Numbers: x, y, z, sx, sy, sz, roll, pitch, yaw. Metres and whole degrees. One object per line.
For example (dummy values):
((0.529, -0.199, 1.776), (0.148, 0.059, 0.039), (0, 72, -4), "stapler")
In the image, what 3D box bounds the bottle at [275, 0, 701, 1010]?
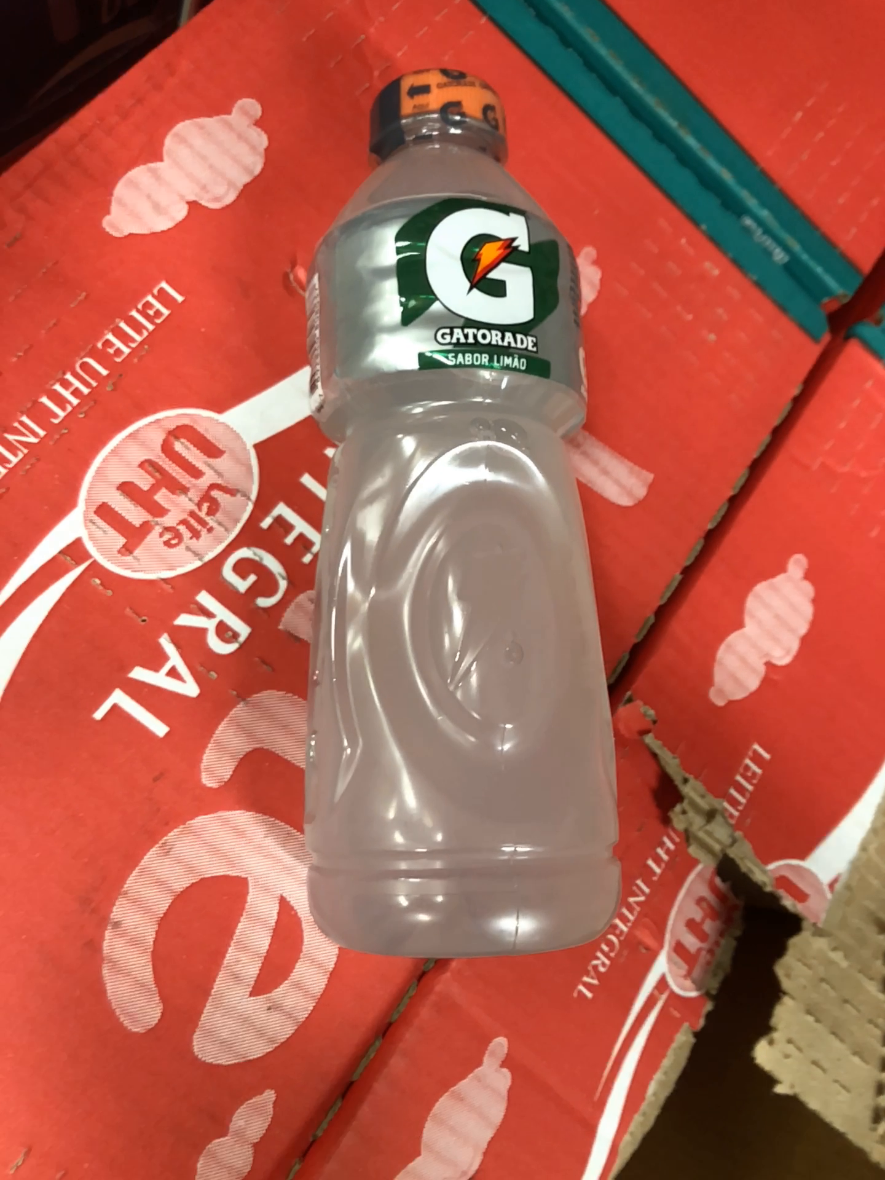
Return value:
((0.003, -0.025, 0.229), (0.070, 0.060, 0.210), (2, 78, -21), "bottle")

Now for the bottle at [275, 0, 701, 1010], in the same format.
((0.003, -0.025, 0.229), (0.070, 0.060, 0.210), (2, 78, -21), "bottle")
